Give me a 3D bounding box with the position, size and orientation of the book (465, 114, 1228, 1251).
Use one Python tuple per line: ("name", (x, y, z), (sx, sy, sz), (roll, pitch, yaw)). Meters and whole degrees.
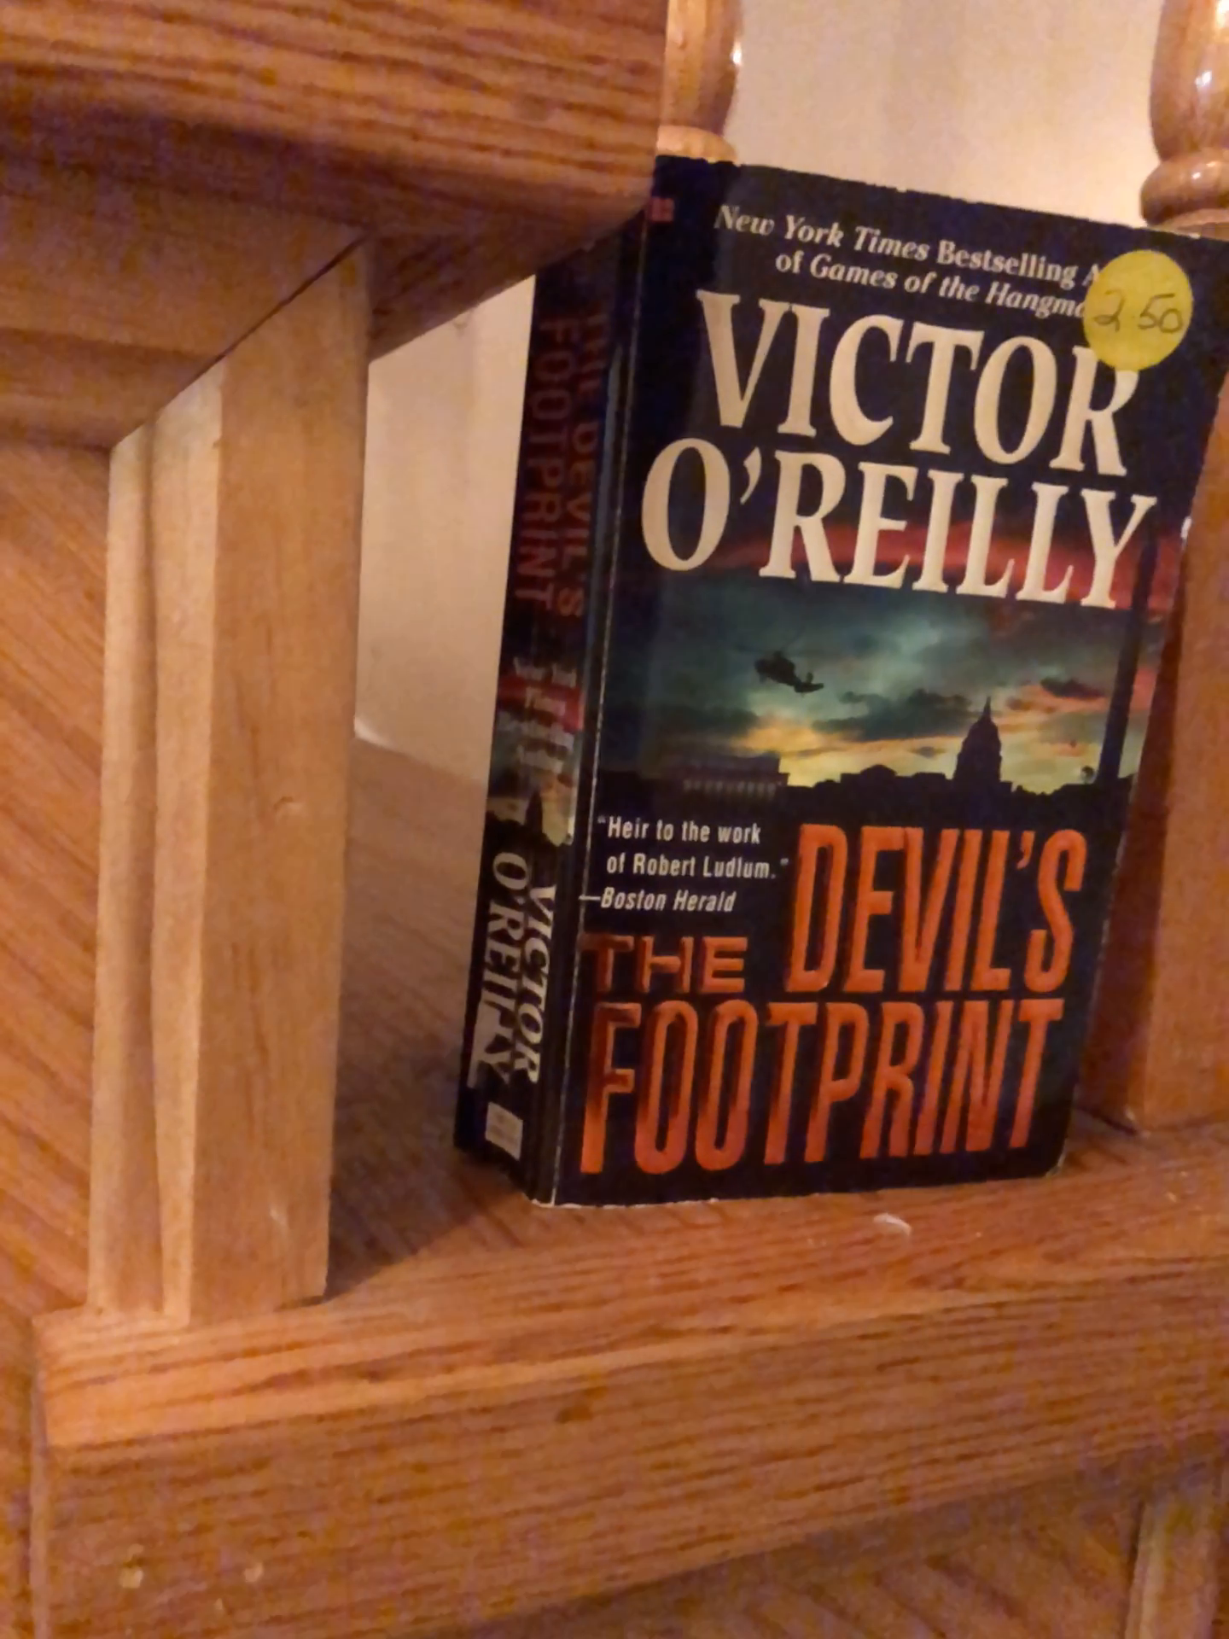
("book", (0.041, -0.018, 0.245), (0.120, 0.170, 0.050), (2, 10, -15))
